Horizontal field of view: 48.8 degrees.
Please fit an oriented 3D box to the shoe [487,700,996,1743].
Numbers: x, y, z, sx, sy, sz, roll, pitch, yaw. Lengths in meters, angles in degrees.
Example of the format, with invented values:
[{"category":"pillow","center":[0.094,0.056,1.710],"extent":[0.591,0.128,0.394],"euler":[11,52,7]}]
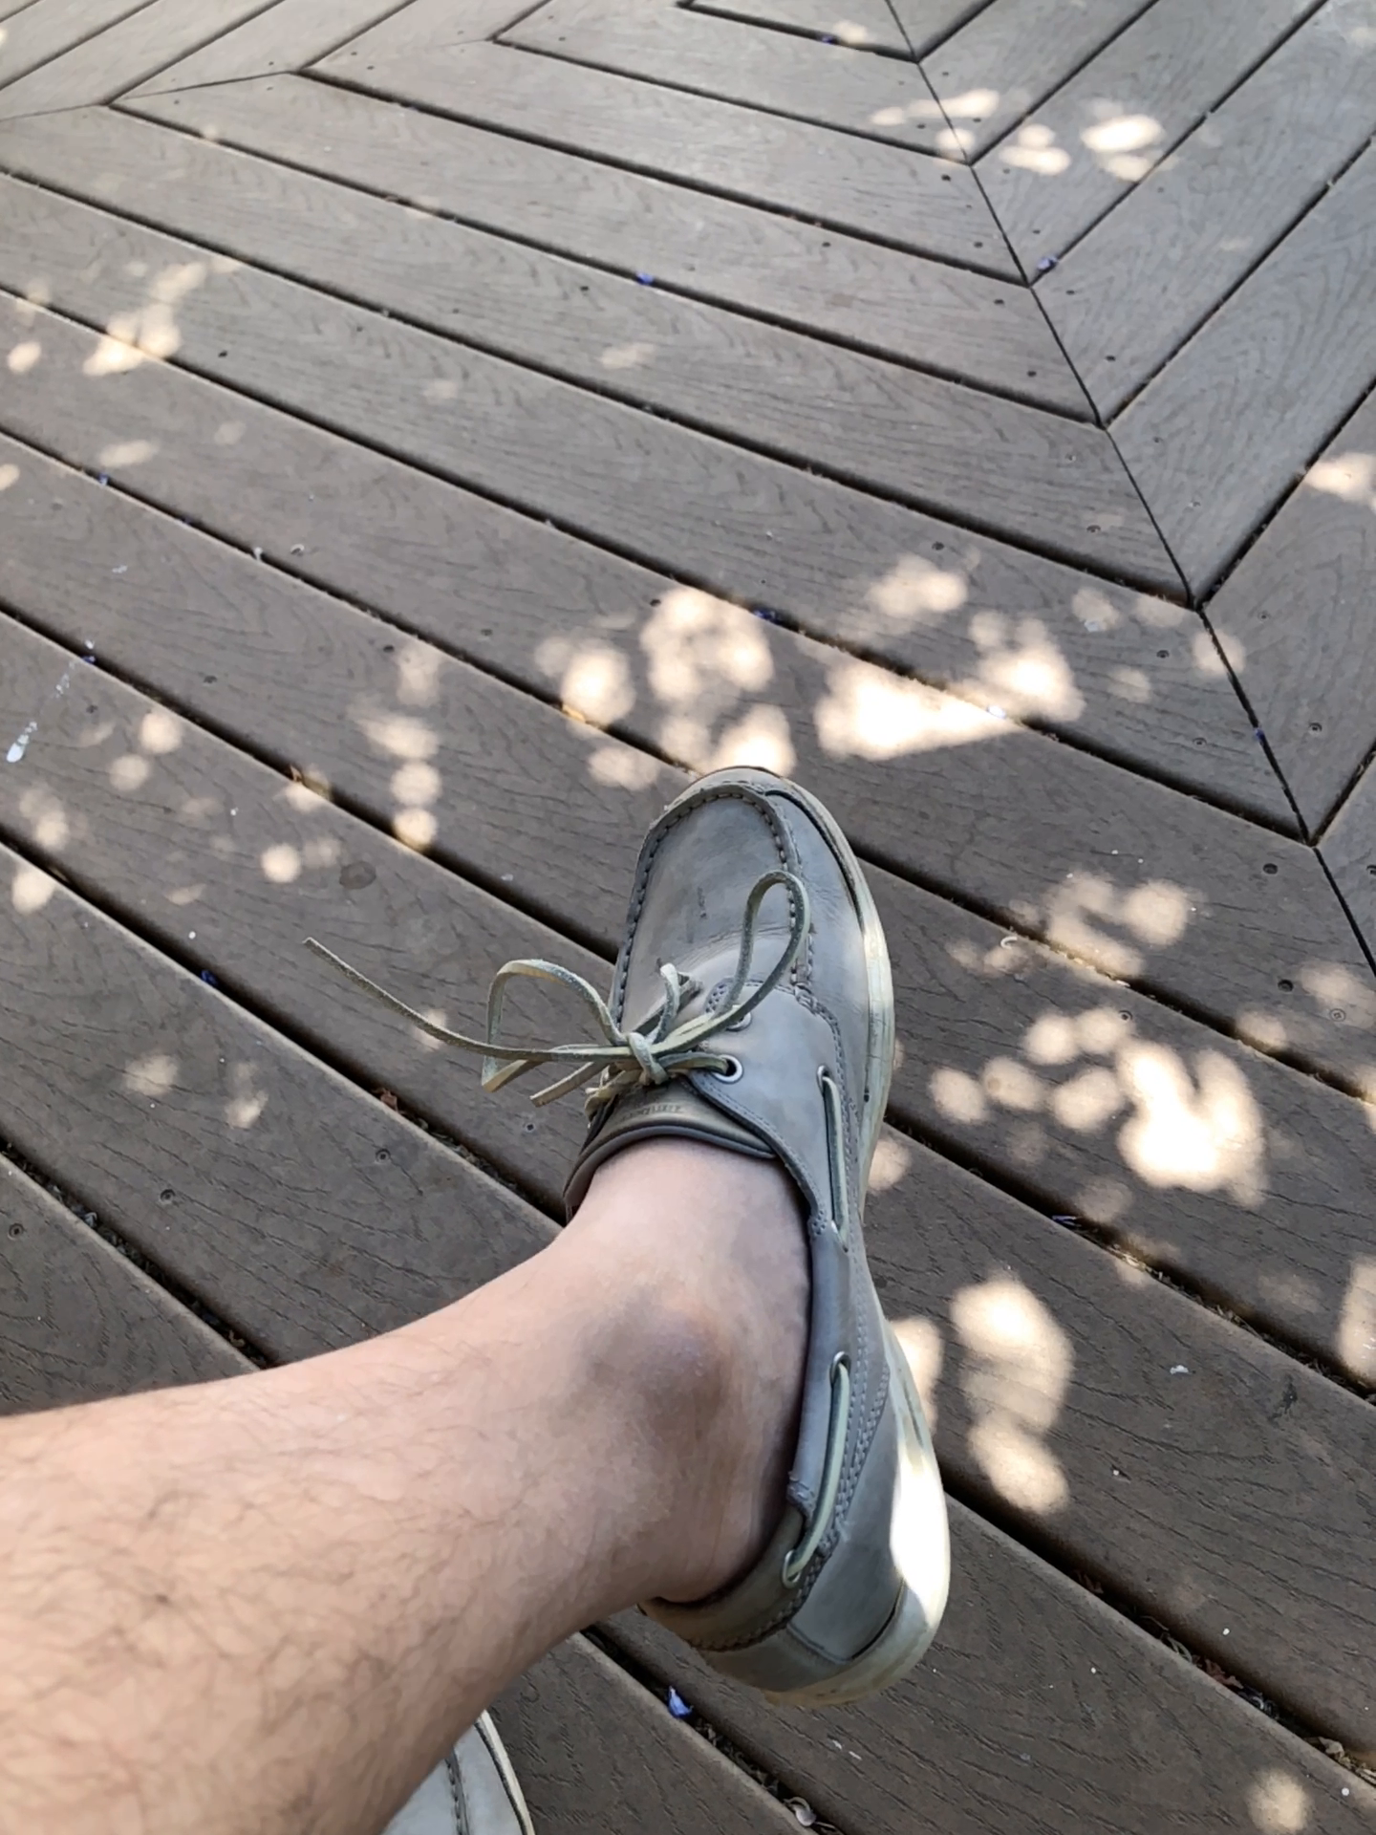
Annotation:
[{"category":"shoe","center":[0.016,0.092,0.523],"extent":[0.110,0.092,0.324],"euler":[-27,46,33]}]
